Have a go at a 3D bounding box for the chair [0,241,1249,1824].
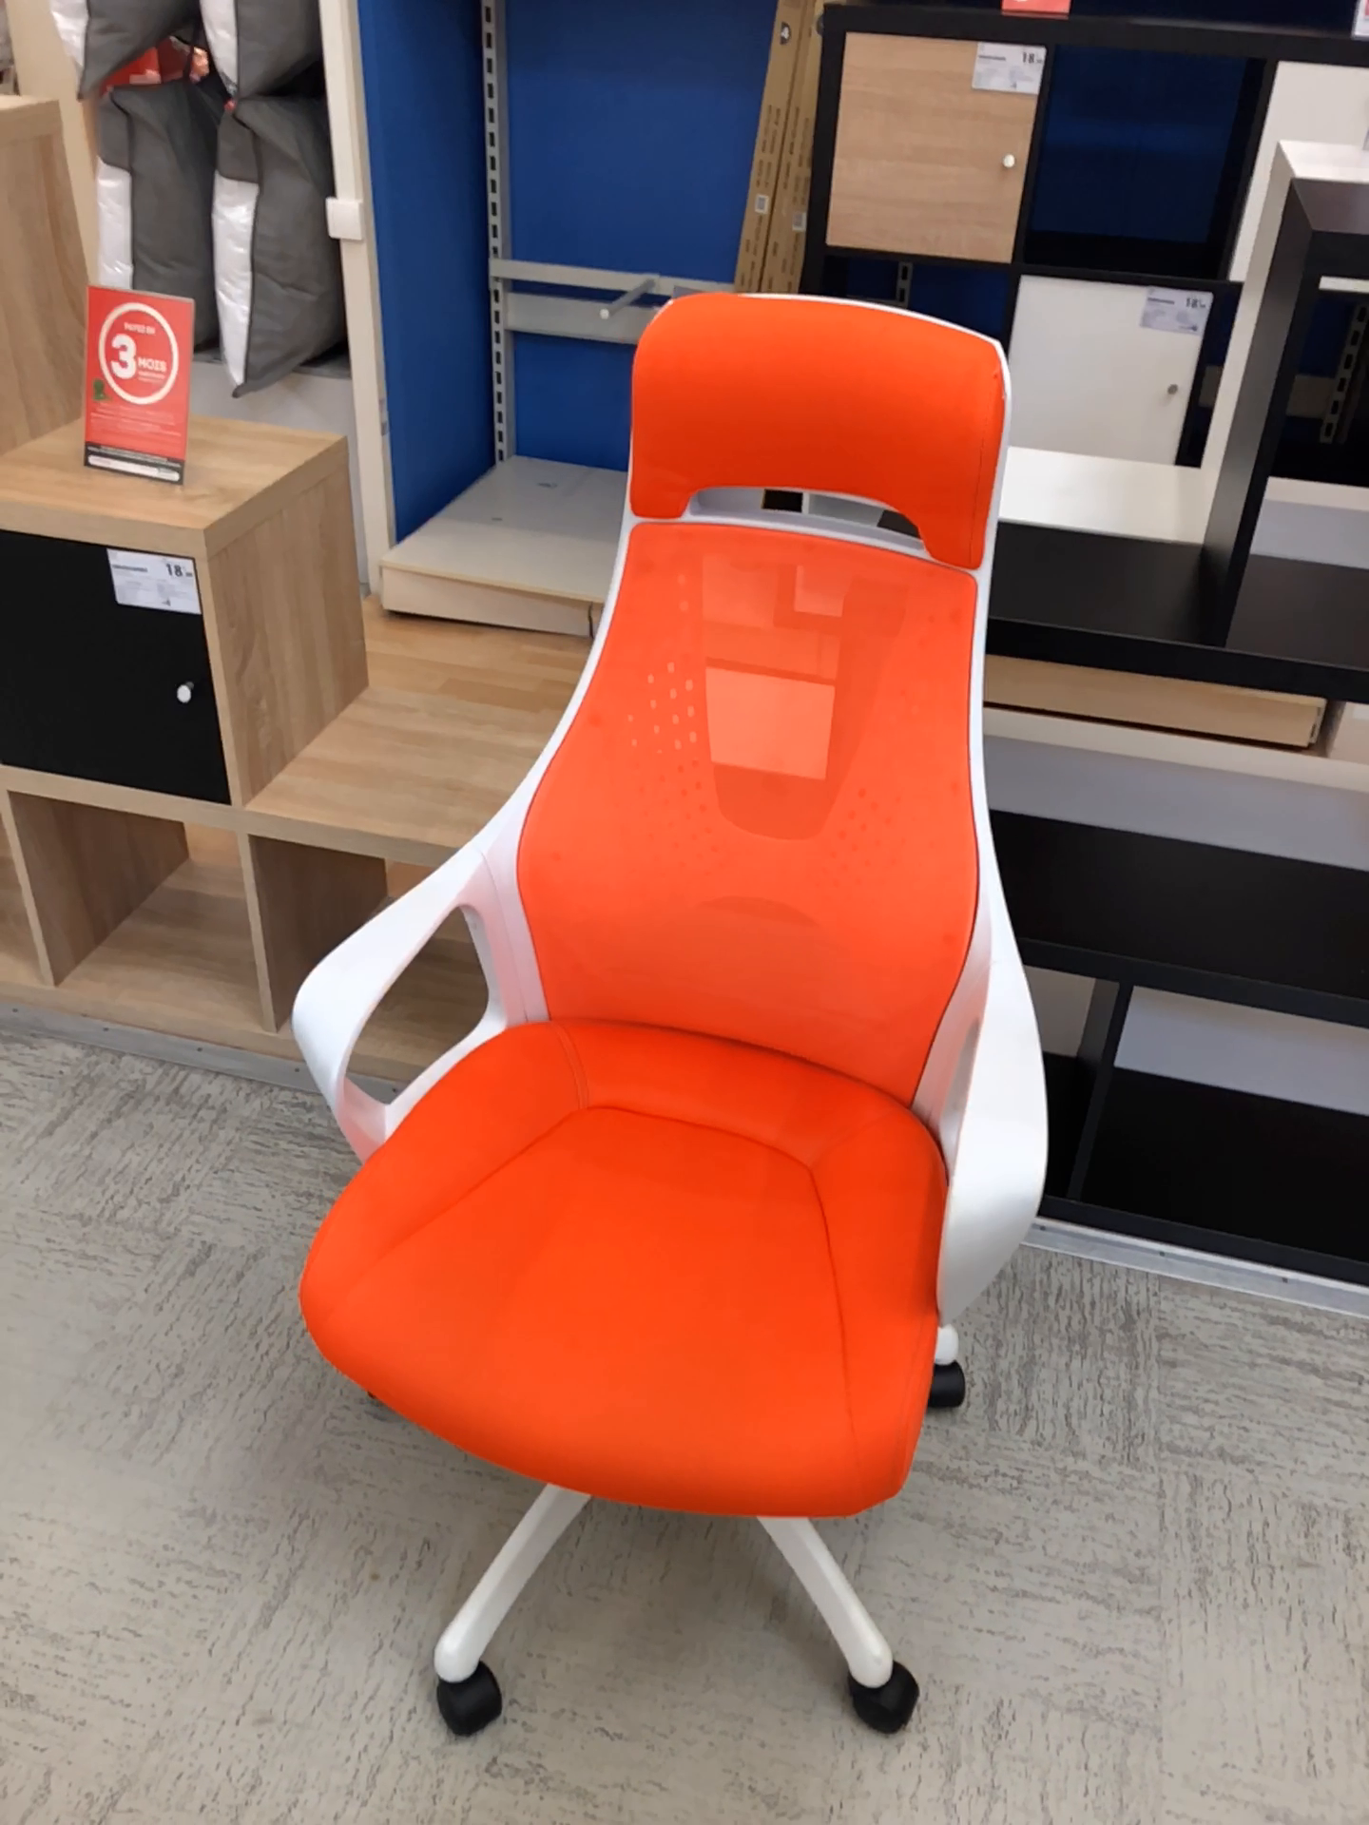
[{"bbox_3d":[-0.004,0.090,1.275,0.679,1.054,0.755,12,35,14],"label":"chair"}]
